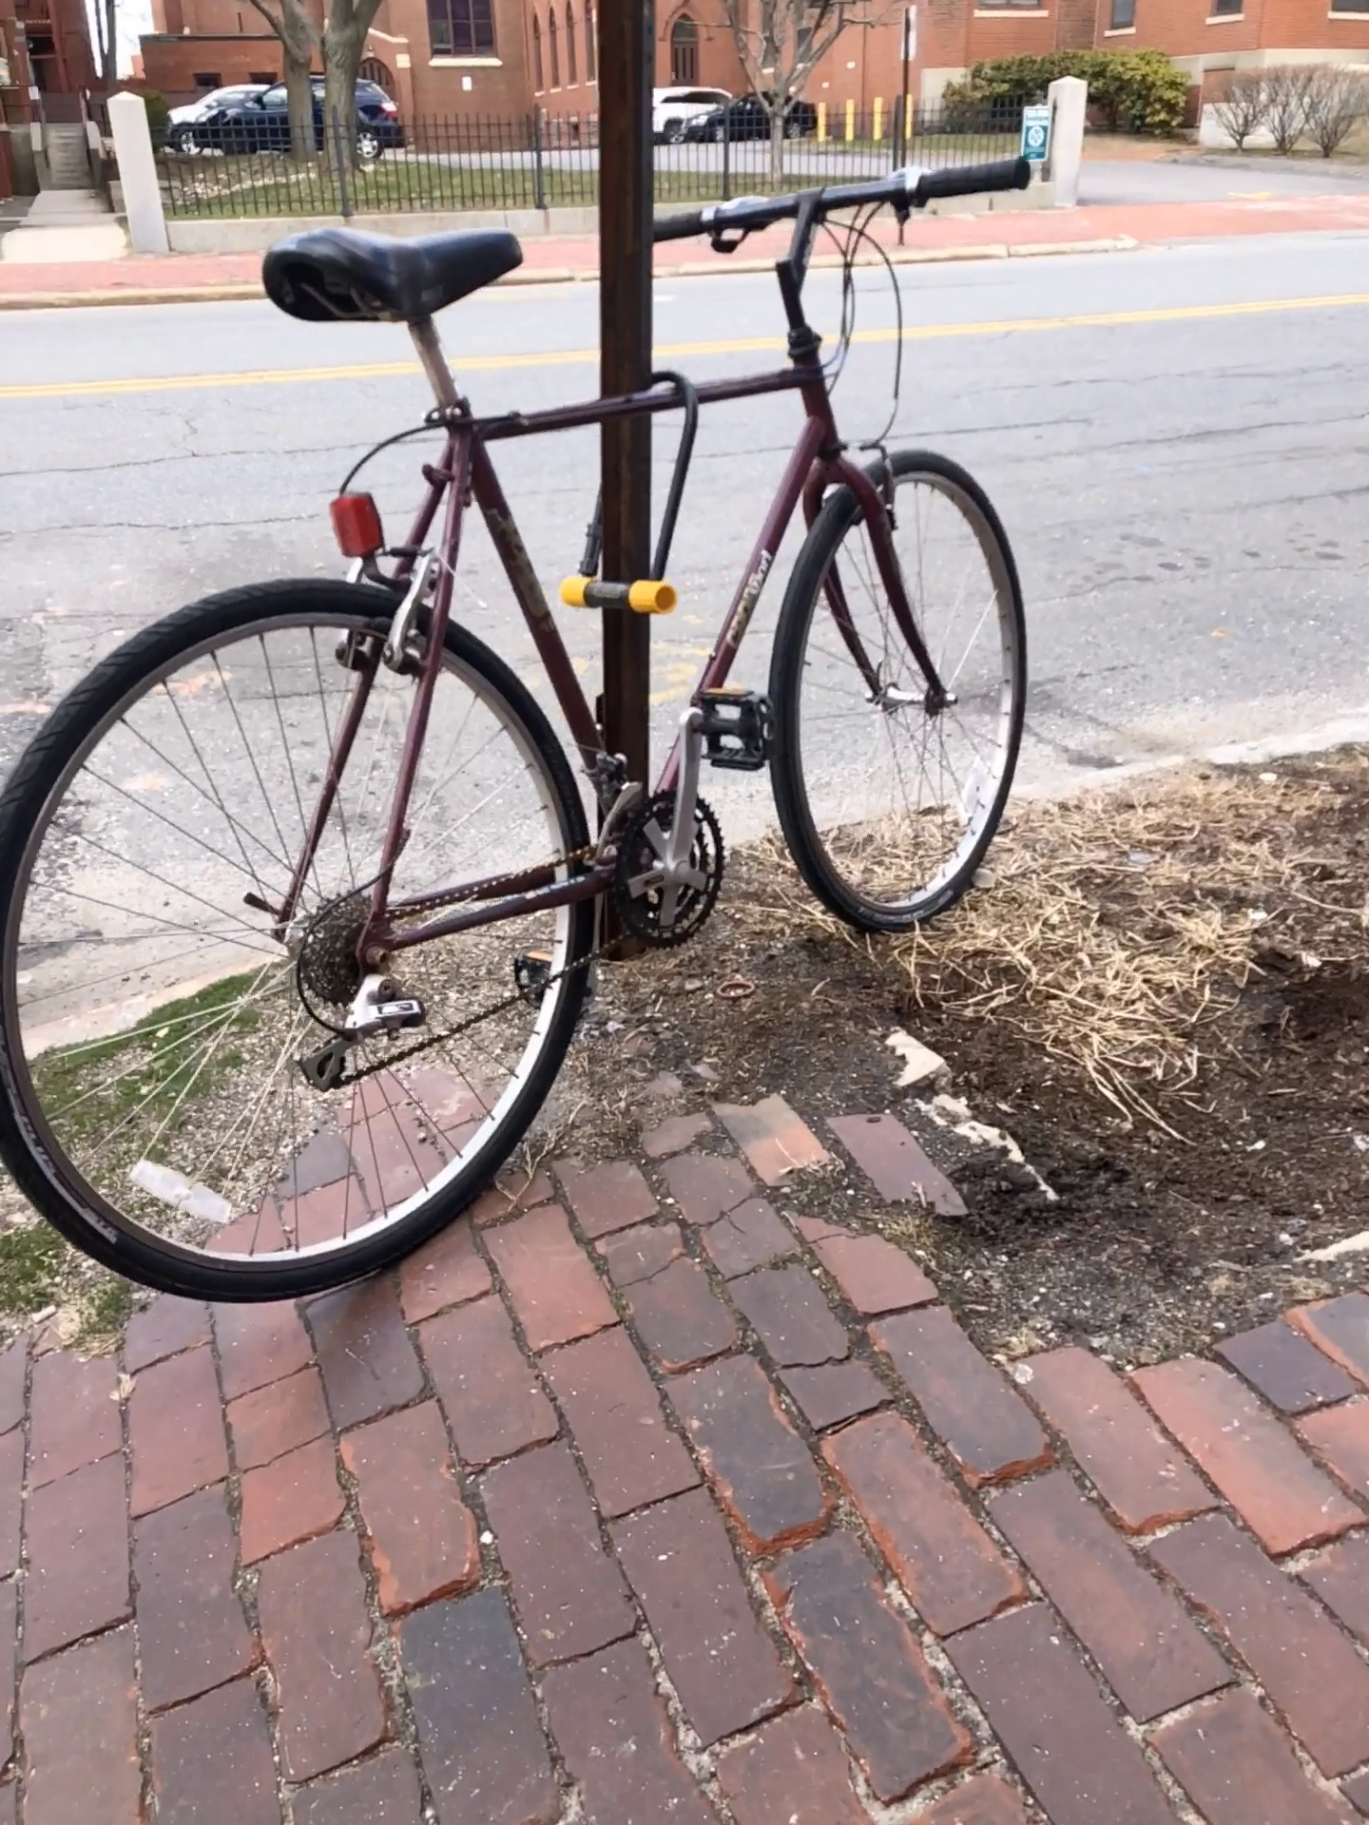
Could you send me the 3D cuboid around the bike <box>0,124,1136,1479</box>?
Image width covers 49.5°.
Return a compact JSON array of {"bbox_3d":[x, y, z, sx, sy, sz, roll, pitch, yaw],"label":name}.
[{"bbox_3d":[-0.117,-0.365,1.787,0.555,0.962,1.690,18,34,35],"label":"bike"}]
